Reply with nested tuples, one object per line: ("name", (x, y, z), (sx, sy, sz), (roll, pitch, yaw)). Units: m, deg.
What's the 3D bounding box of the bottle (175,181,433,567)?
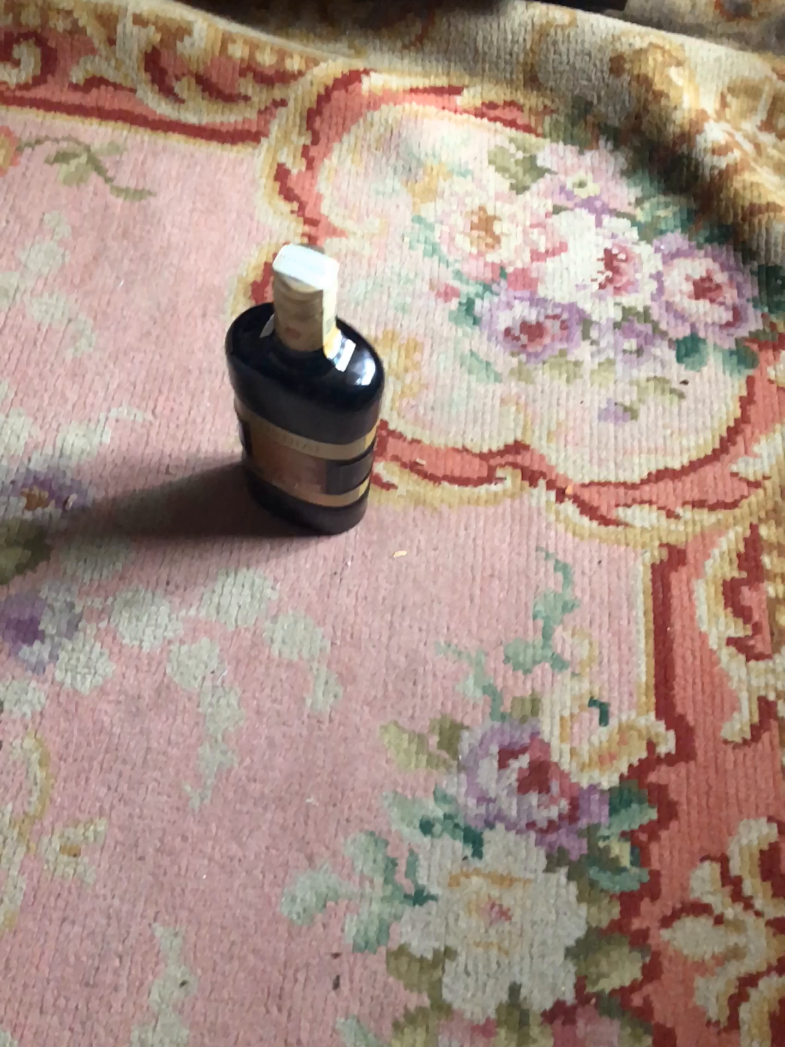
("bottle", (-0.050, -0.063, 0.483), (0.100, 0.239, 0.050), (27, 66, 6))
